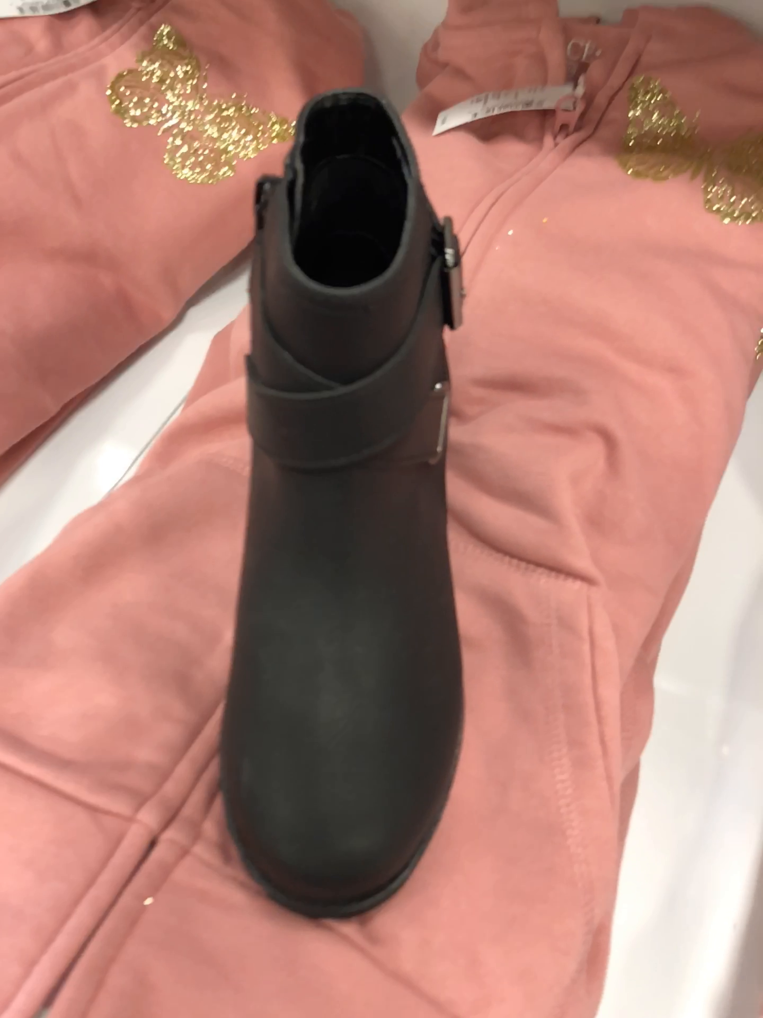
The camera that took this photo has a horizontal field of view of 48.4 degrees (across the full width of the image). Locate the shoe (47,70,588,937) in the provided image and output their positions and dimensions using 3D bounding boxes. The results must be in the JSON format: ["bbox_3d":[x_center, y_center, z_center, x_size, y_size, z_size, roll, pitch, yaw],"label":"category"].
[{"bbox_3d":[-0.011,-0.001,0.235,0.080,0.130,0.200,0,57,-1],"label":"shoe"}]
